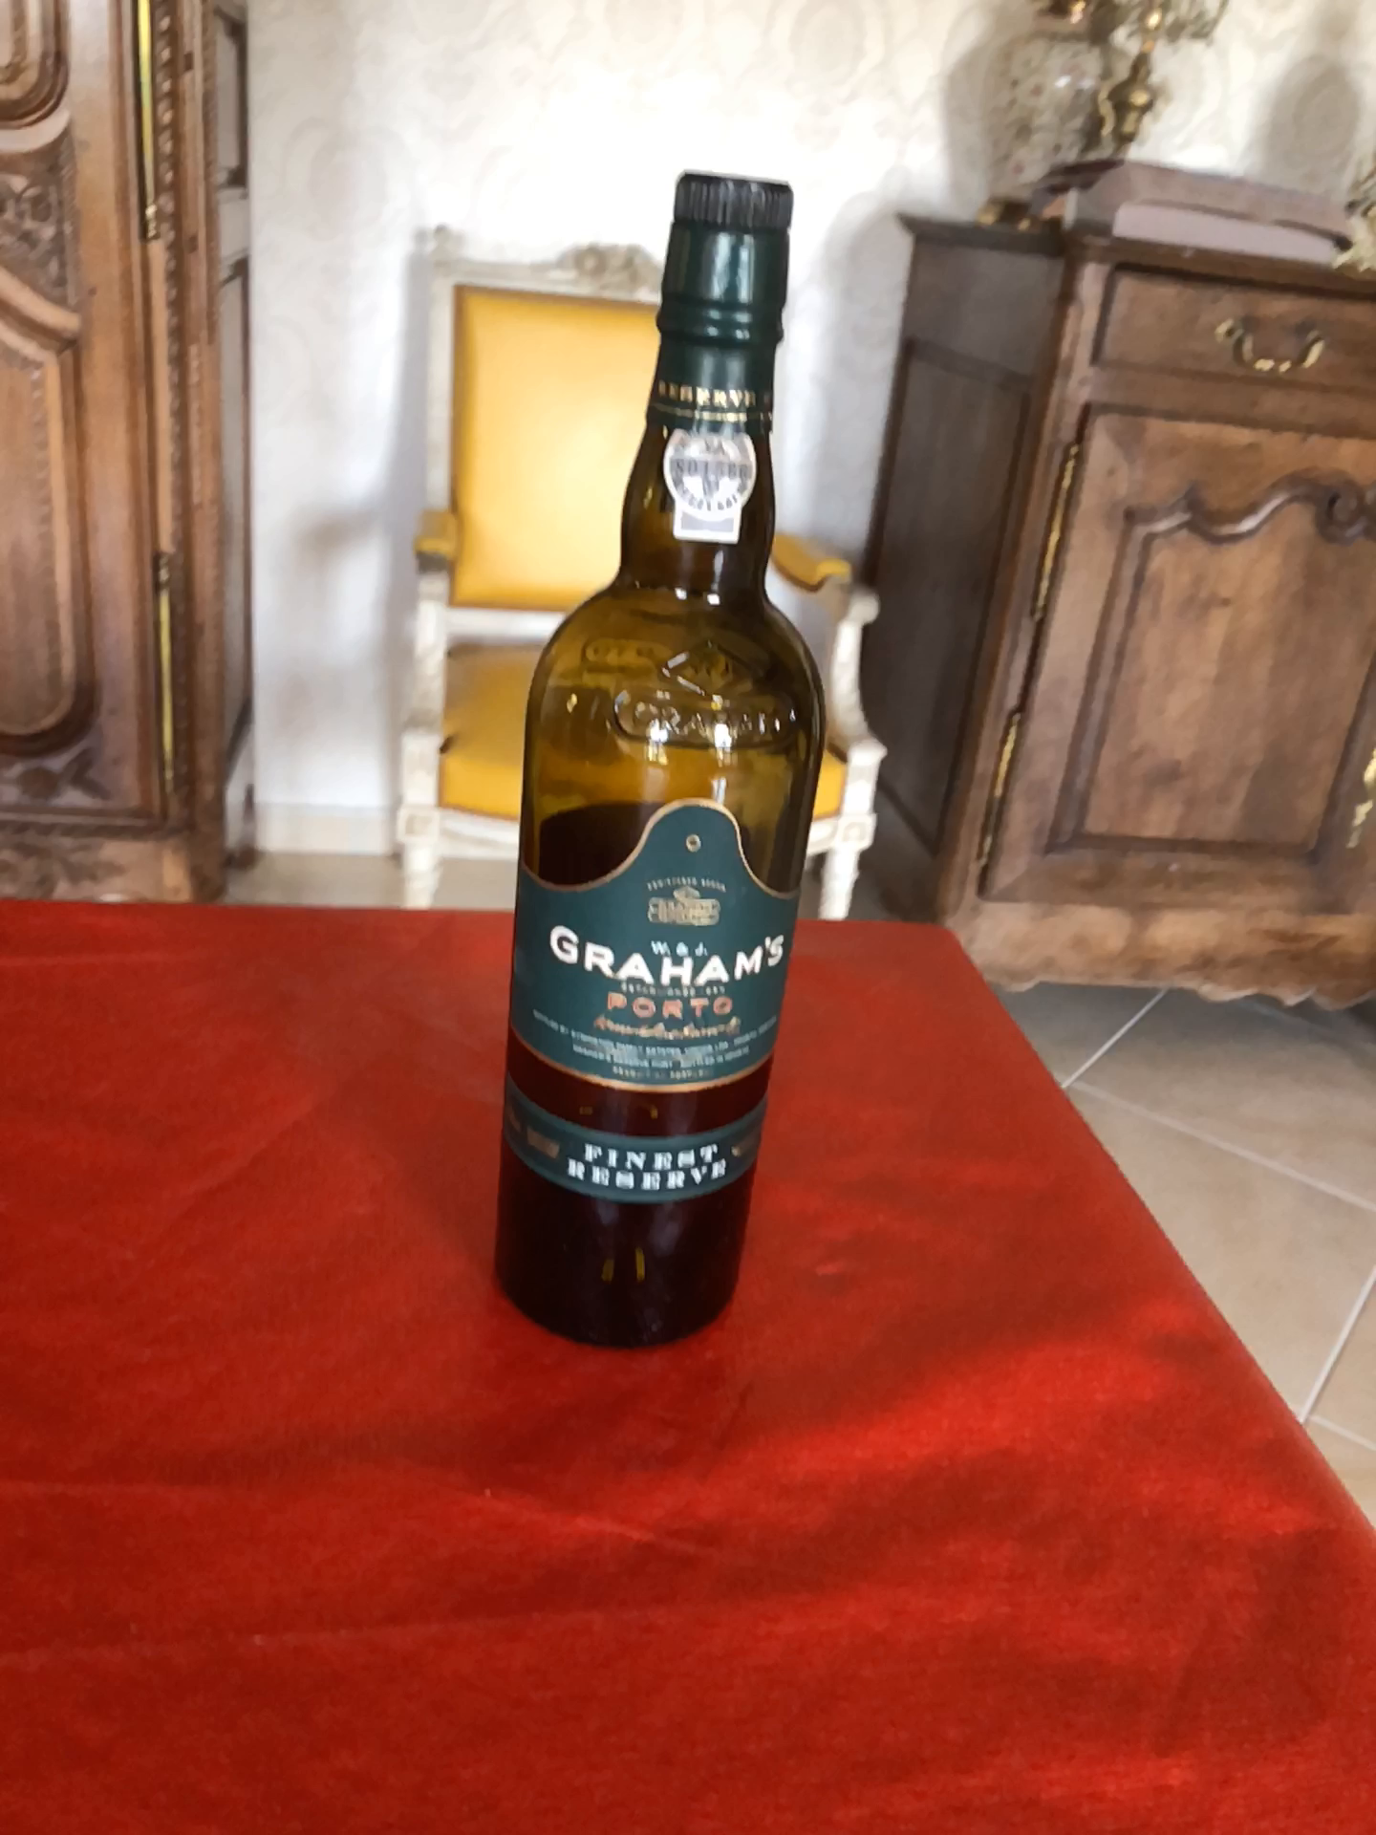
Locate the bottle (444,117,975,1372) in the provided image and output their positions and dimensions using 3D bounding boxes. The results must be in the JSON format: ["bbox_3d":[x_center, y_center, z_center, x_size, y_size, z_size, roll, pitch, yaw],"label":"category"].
[{"bbox_3d":[-0.011,-0.032,0.392,0.090,0.298,0.090,6,25,-3],"label":"bottle"}]
